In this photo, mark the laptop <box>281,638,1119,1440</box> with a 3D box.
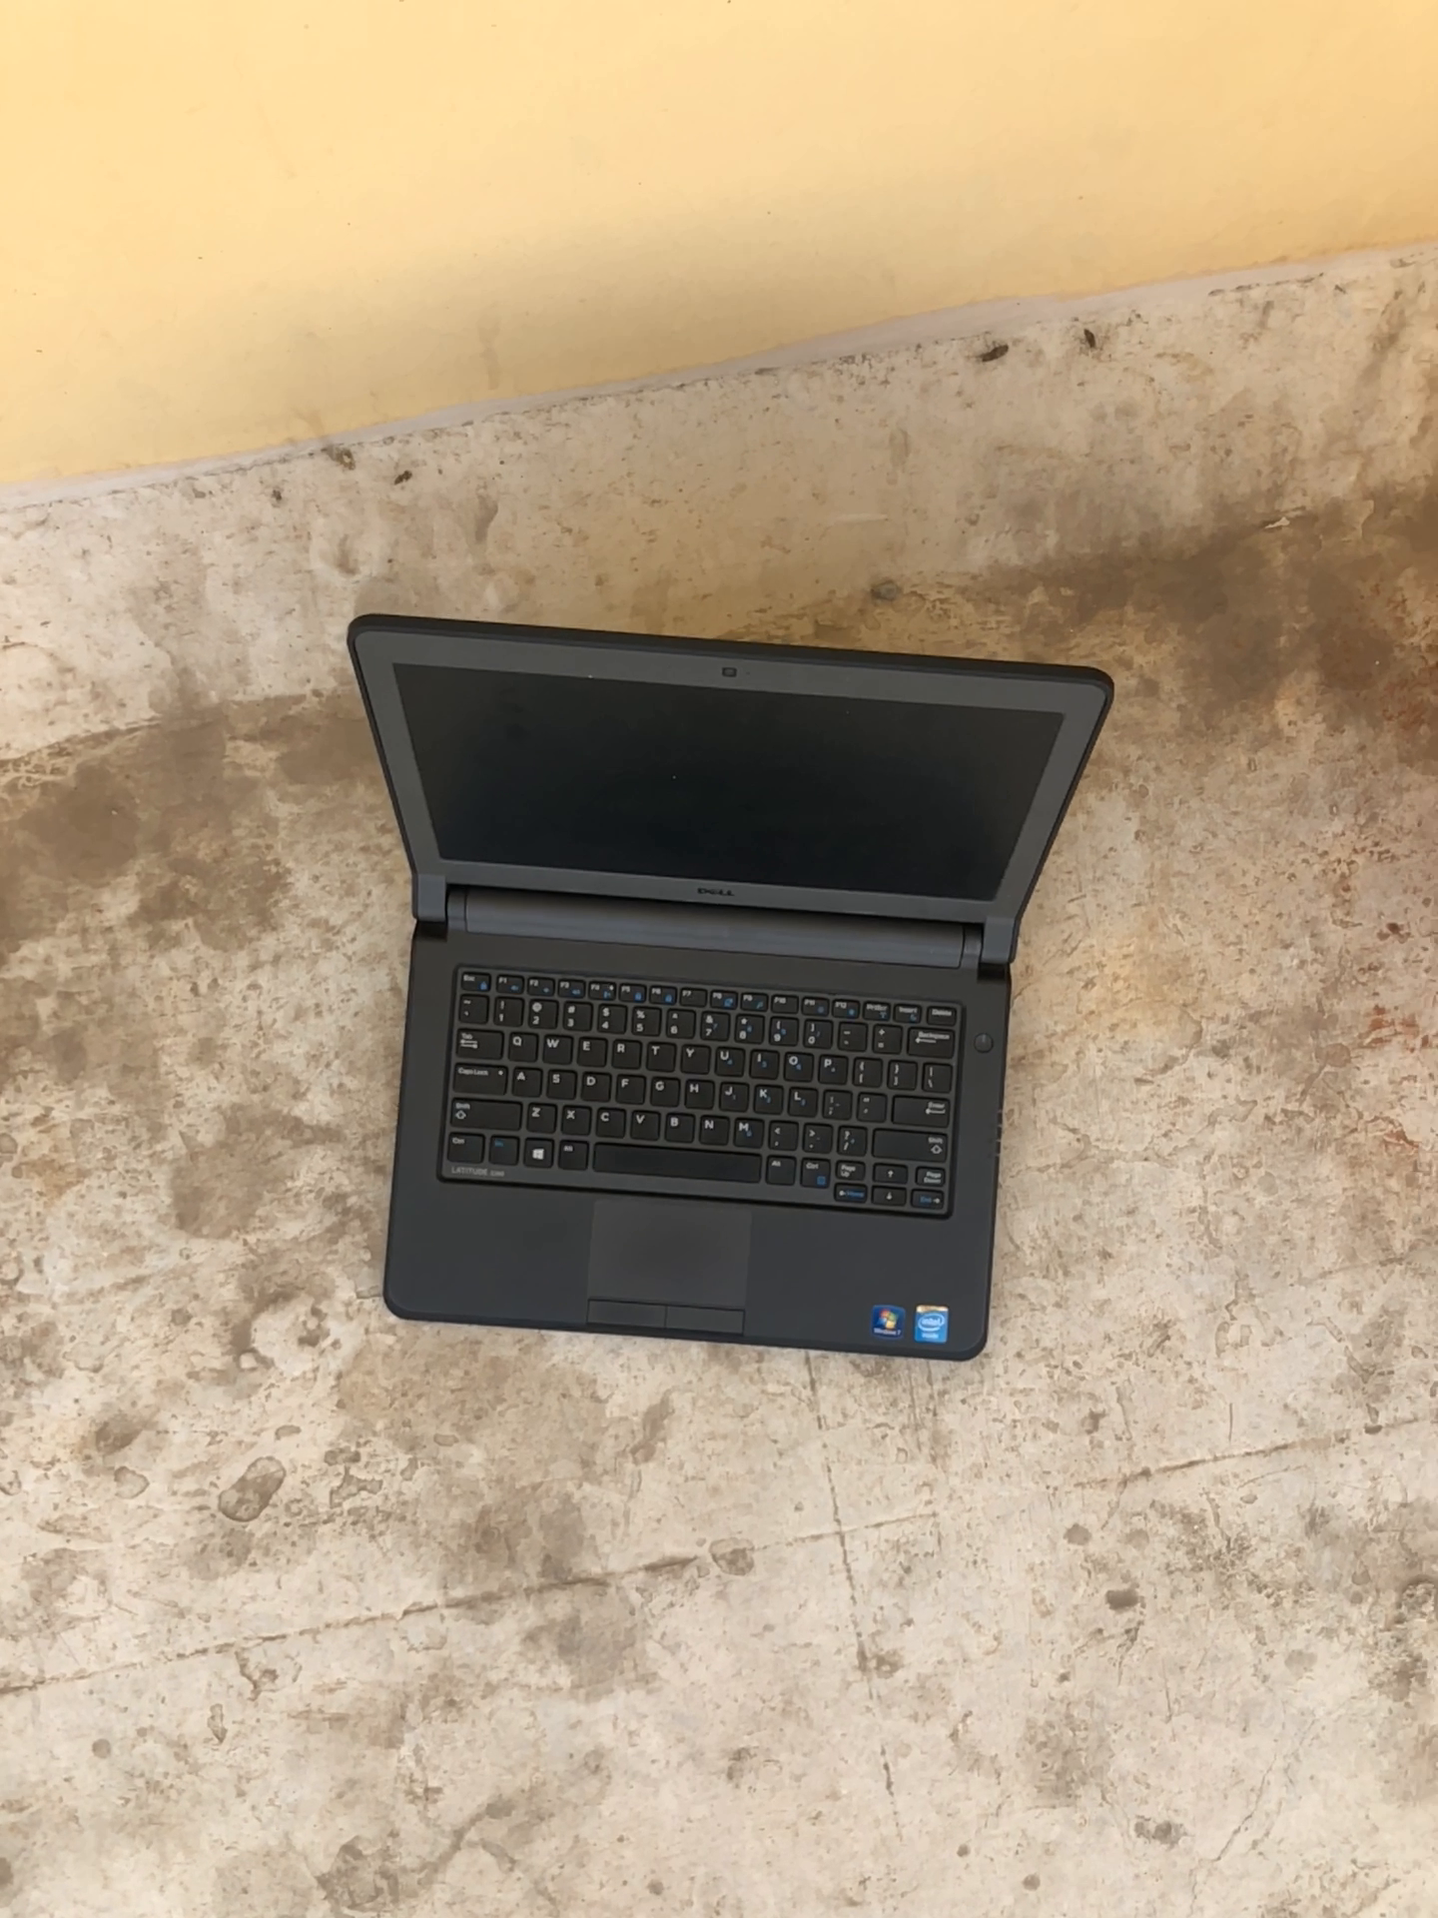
[{"bbox_3d":[-0.004,0.035,0.732,0.308,0.209,0.298,4,84,1],"label":"laptop"}]
